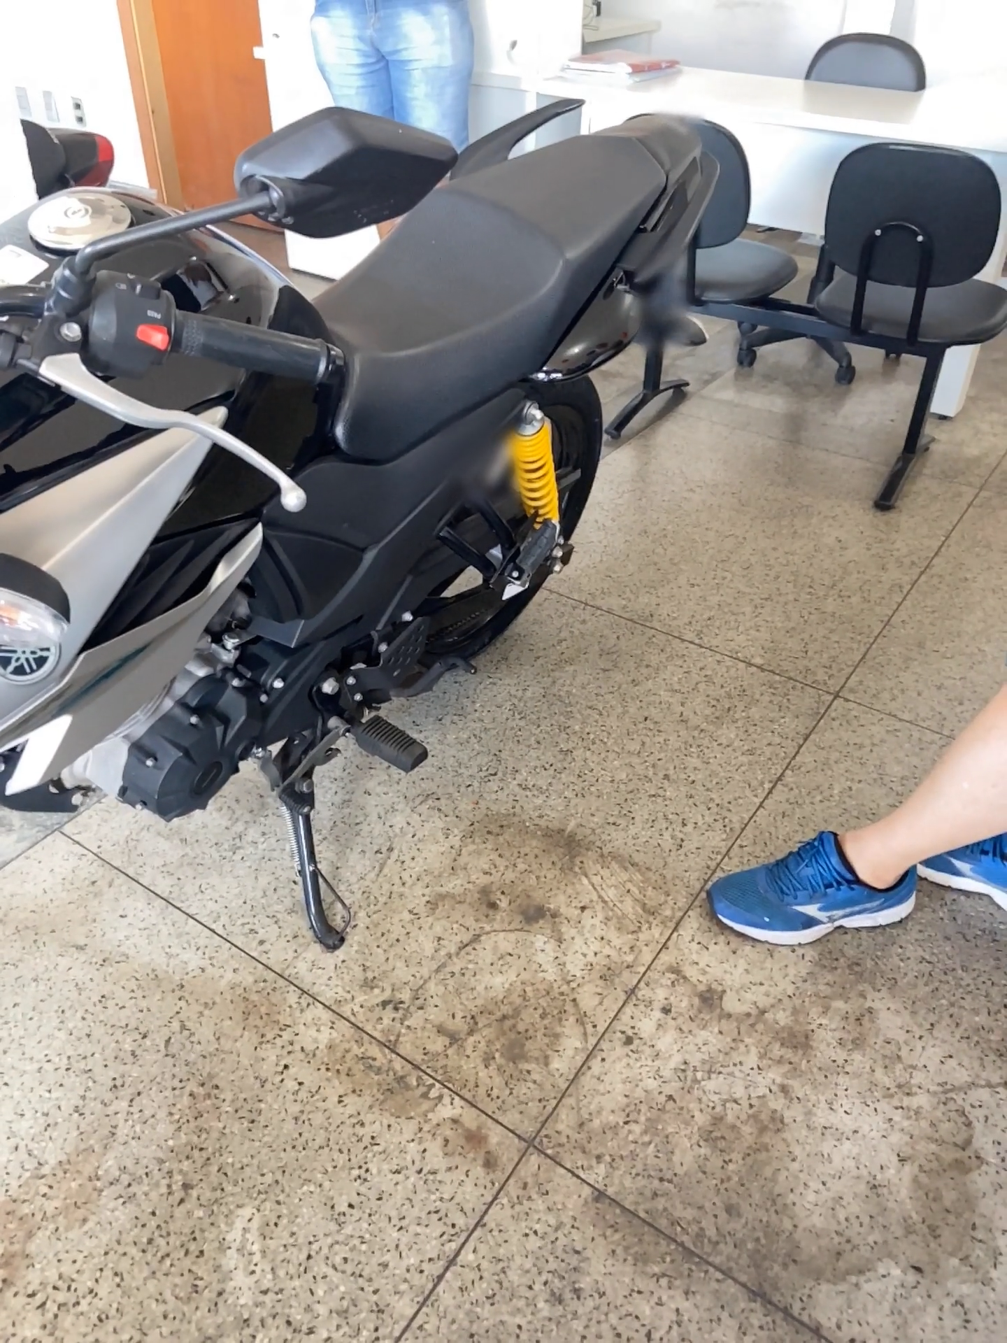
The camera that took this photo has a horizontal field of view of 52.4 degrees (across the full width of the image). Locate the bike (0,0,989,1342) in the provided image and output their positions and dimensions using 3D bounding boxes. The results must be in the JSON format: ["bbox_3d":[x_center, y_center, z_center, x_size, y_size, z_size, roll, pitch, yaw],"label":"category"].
[{"bbox_3d":[-0.170,-0.076,1.182,0.815,1.331,2.013,17,39,23],"label":"bike"}]
